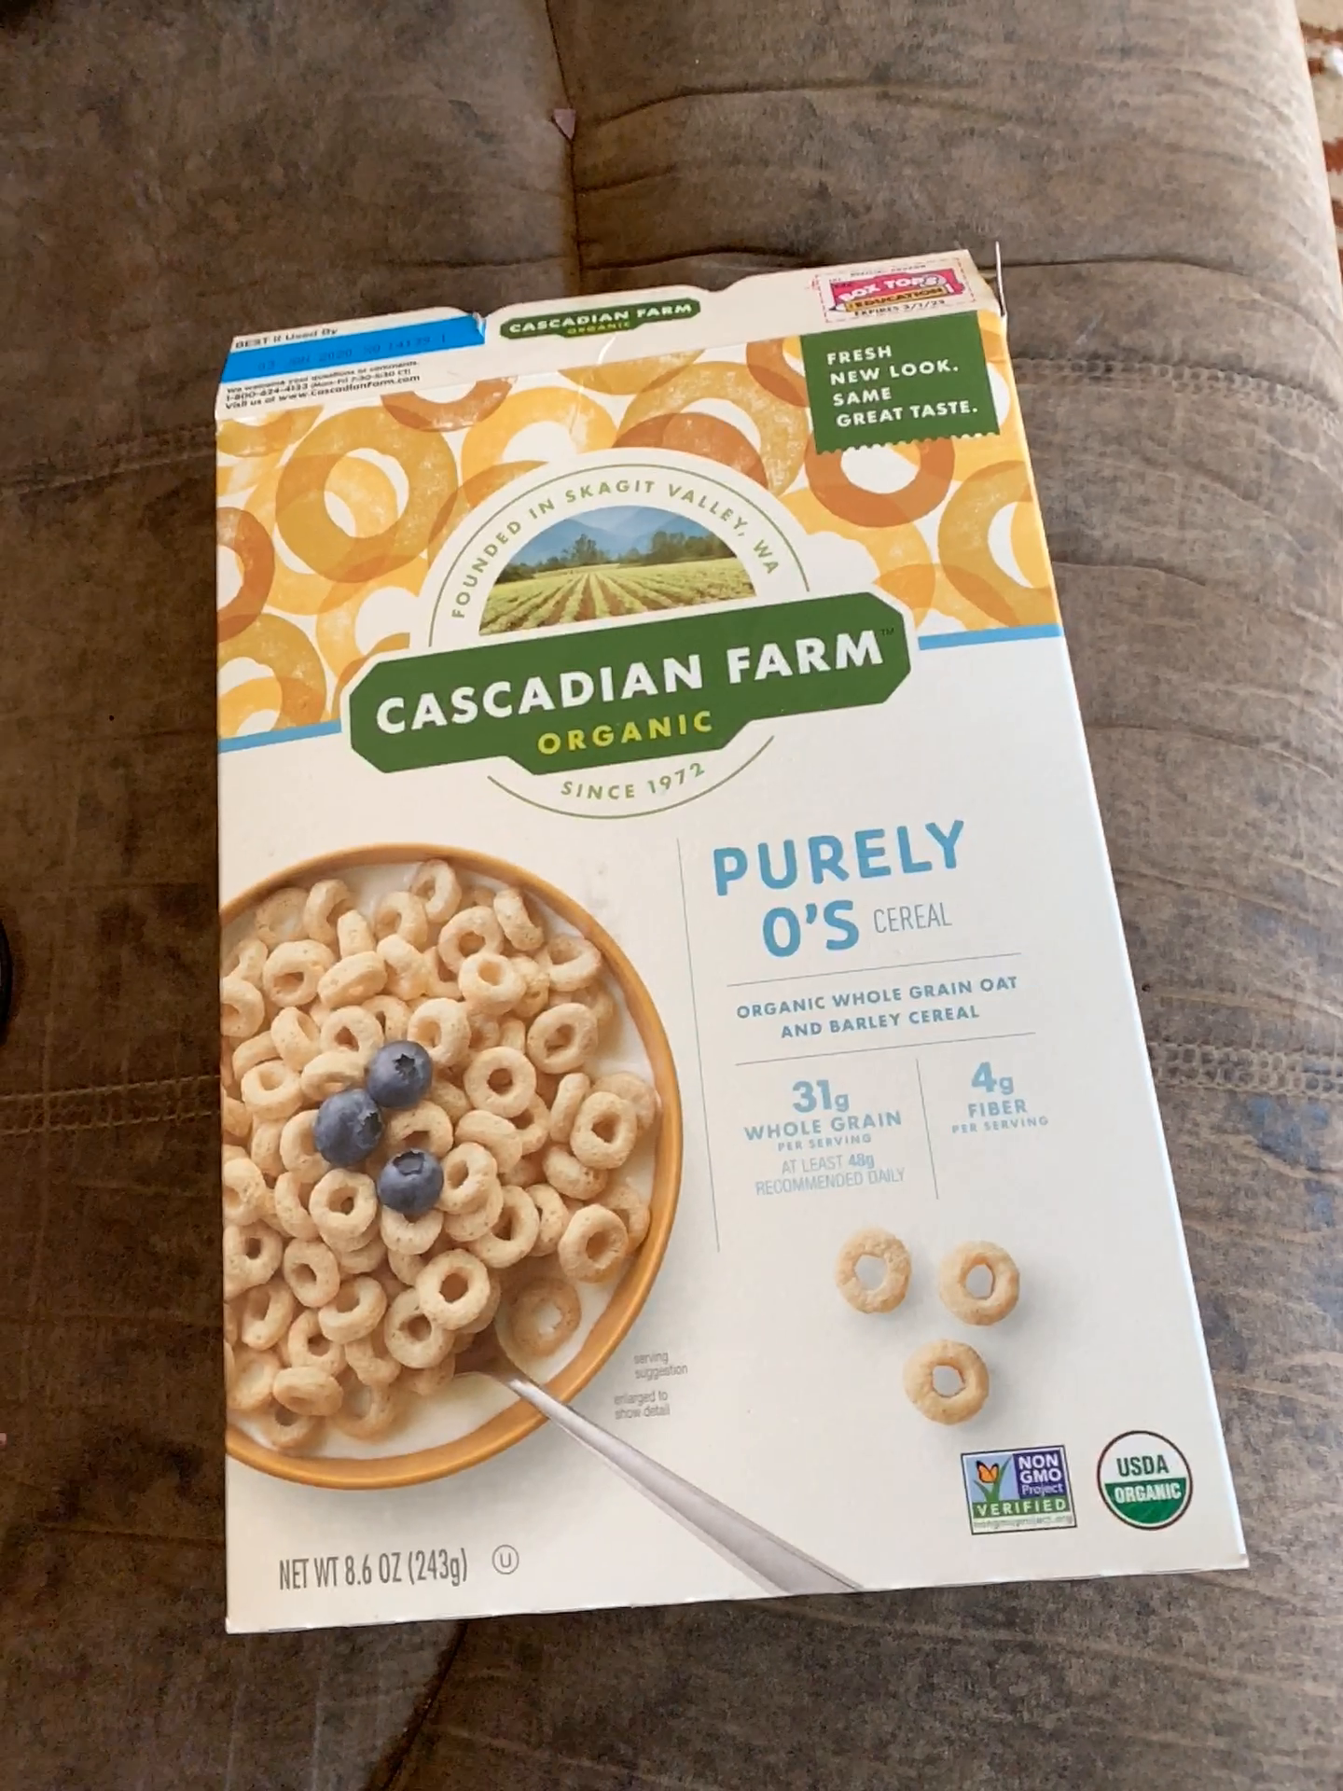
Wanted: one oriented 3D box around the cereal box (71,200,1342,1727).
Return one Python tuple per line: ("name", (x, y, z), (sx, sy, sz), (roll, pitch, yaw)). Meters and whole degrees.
("cereal box", (-0.002, 0.003, 0.293), (0.200, 0.070, 0.280), (-7, 69, 6))
